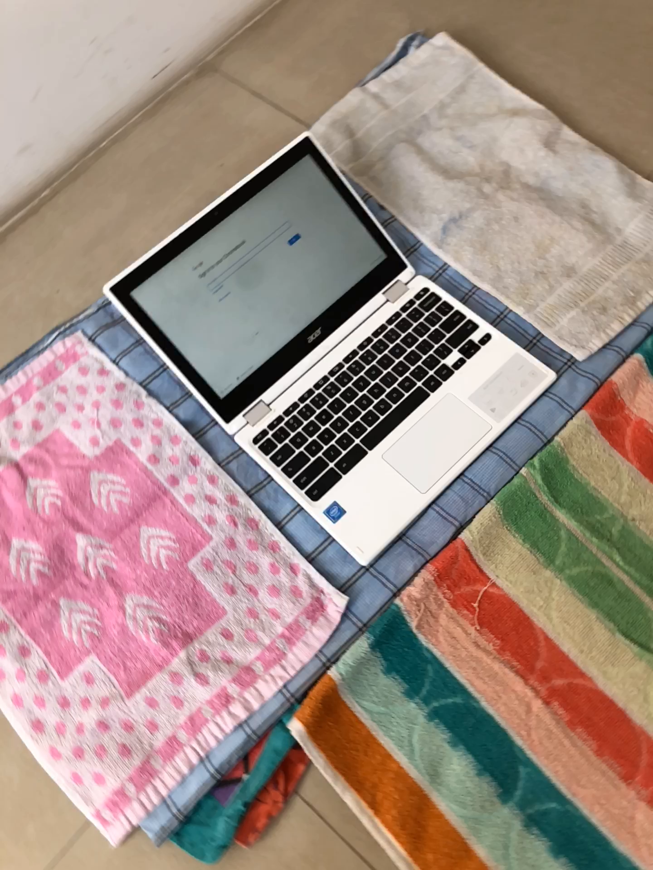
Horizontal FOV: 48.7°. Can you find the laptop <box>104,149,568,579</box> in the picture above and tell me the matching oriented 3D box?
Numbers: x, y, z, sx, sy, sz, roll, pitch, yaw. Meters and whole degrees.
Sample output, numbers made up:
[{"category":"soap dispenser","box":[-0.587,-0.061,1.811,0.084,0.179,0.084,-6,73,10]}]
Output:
[{"category":"laptop","box":[0.001,-0.092,0.748,0.286,0.101,0.367,-42,67,-14]}]
